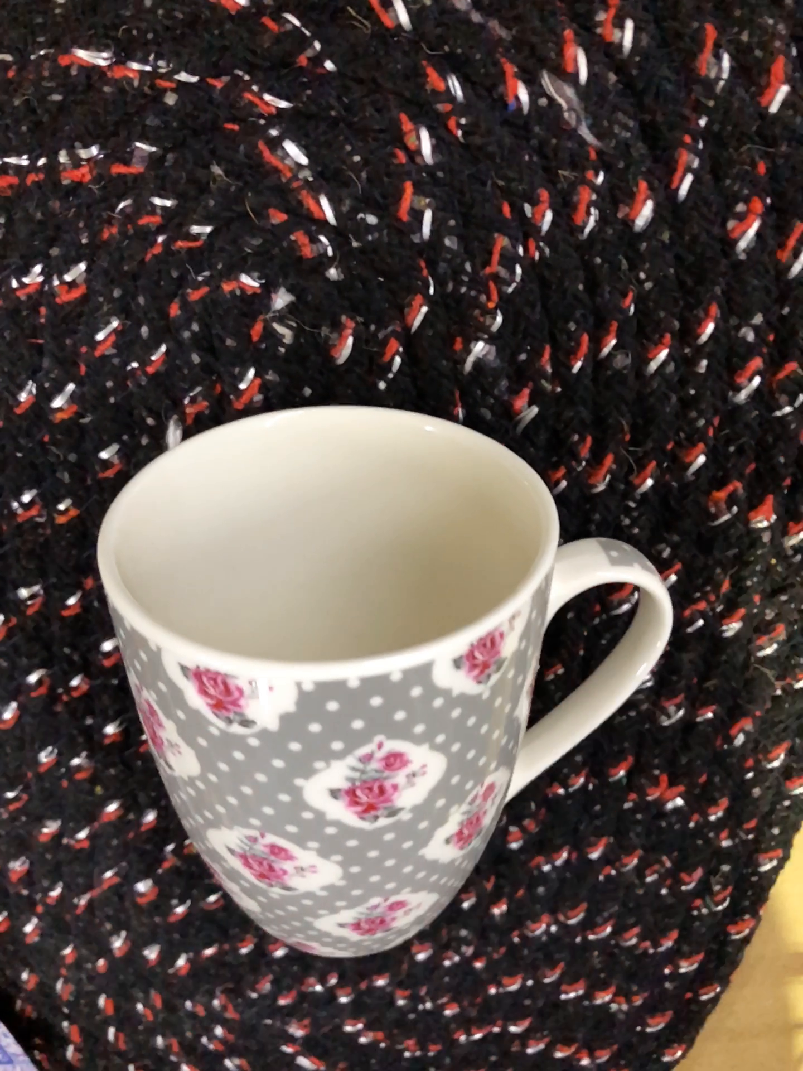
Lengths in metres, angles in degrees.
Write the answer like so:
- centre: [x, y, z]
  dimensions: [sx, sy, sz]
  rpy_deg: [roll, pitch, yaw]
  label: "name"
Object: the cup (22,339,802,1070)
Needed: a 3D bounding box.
- centre: [-0.007, 0.032, 0.185]
  dimensions: [0.110, 0.090, 0.100]
  rpy_deg: [-12, 129, -15]
  label: "cup"
